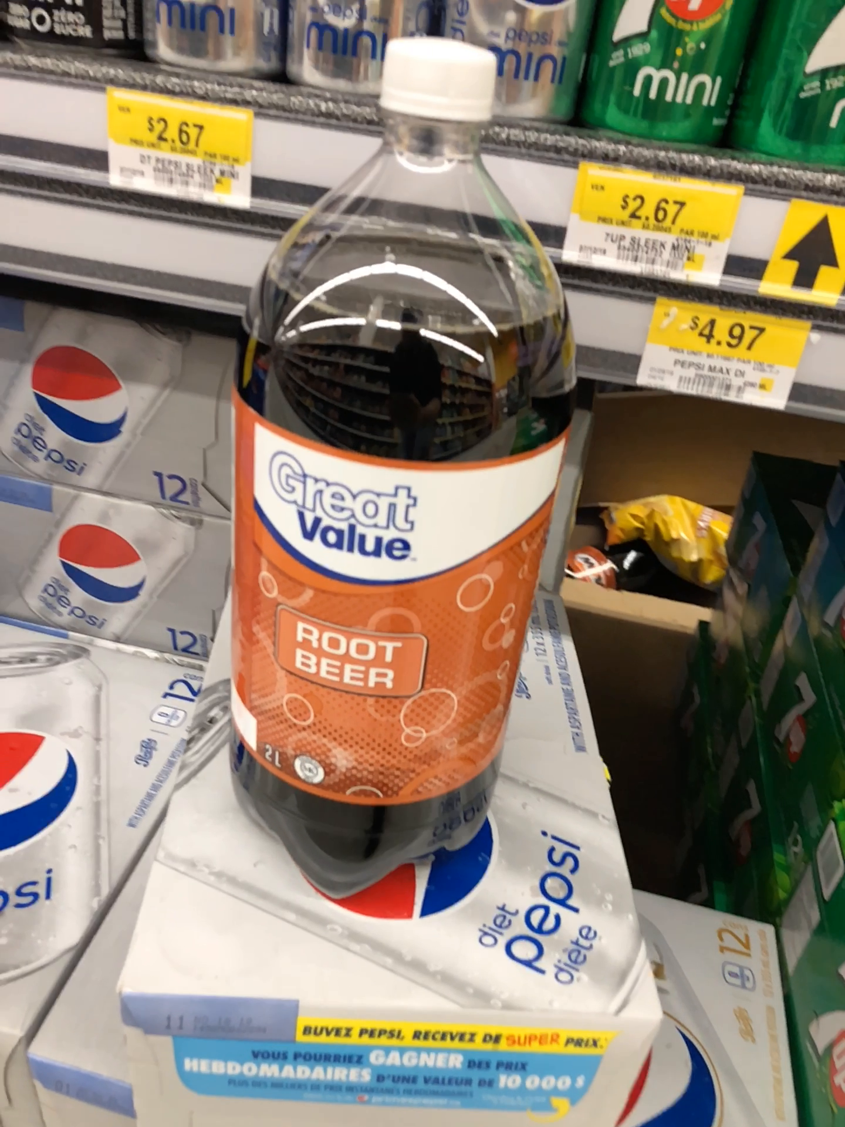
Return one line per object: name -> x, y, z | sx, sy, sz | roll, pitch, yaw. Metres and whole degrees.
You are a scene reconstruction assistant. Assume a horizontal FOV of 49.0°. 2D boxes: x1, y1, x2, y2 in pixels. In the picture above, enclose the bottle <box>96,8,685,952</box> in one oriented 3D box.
bottle -> -0.009, -0.020, 0.309 | 0.120, 0.268, 0.121 | 5, 34, -3
